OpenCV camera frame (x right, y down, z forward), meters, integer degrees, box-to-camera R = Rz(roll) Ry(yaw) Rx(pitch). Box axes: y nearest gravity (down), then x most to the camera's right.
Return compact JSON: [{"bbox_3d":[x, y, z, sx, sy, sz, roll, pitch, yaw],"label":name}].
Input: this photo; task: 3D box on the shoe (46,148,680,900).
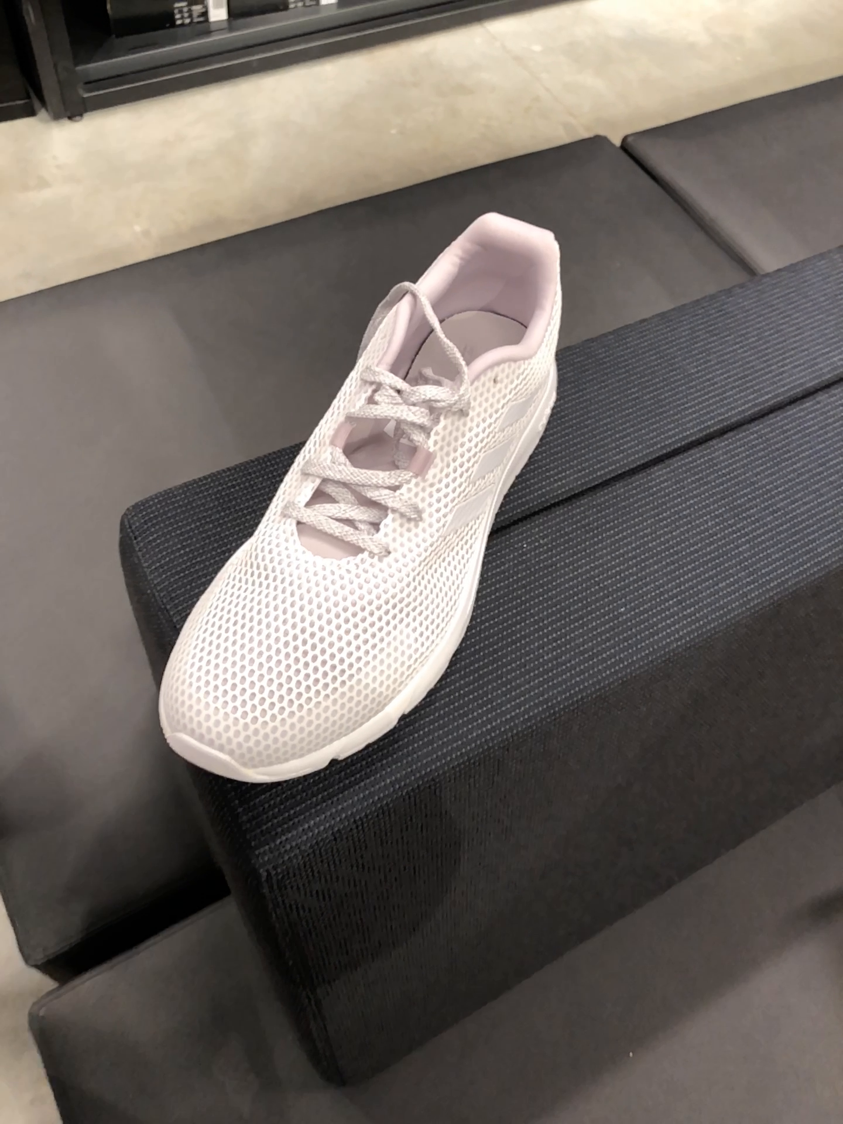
[{"bbox_3d":[-0.008,-0.026,0.413,0.120,0.140,0.280,25,59,9],"label":"shoe"}]
